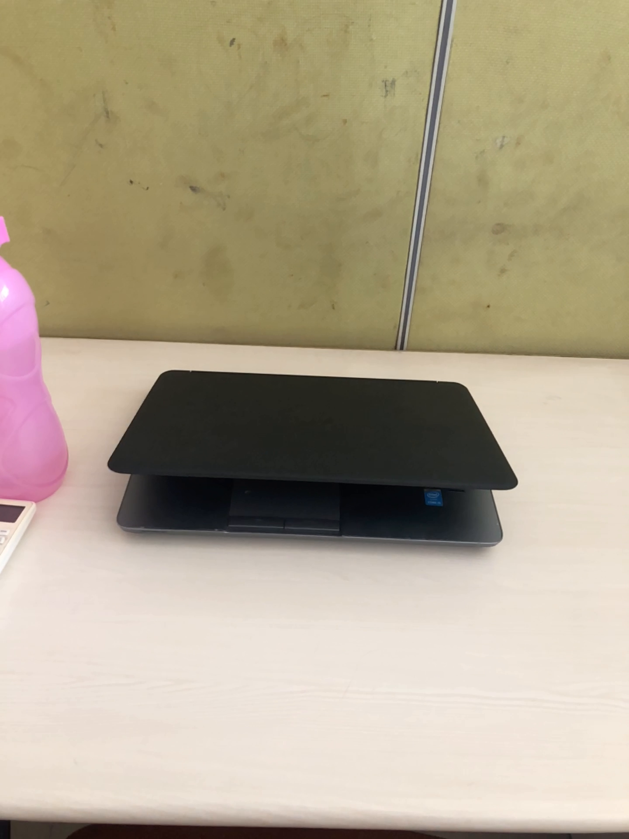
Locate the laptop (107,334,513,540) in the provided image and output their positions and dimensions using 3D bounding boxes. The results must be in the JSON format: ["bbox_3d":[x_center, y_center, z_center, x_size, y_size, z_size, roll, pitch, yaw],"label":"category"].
[{"bbox_3d":[0.001,0.006,0.664,0.330,0.050,0.227,3,38,0],"label":"laptop"}]
